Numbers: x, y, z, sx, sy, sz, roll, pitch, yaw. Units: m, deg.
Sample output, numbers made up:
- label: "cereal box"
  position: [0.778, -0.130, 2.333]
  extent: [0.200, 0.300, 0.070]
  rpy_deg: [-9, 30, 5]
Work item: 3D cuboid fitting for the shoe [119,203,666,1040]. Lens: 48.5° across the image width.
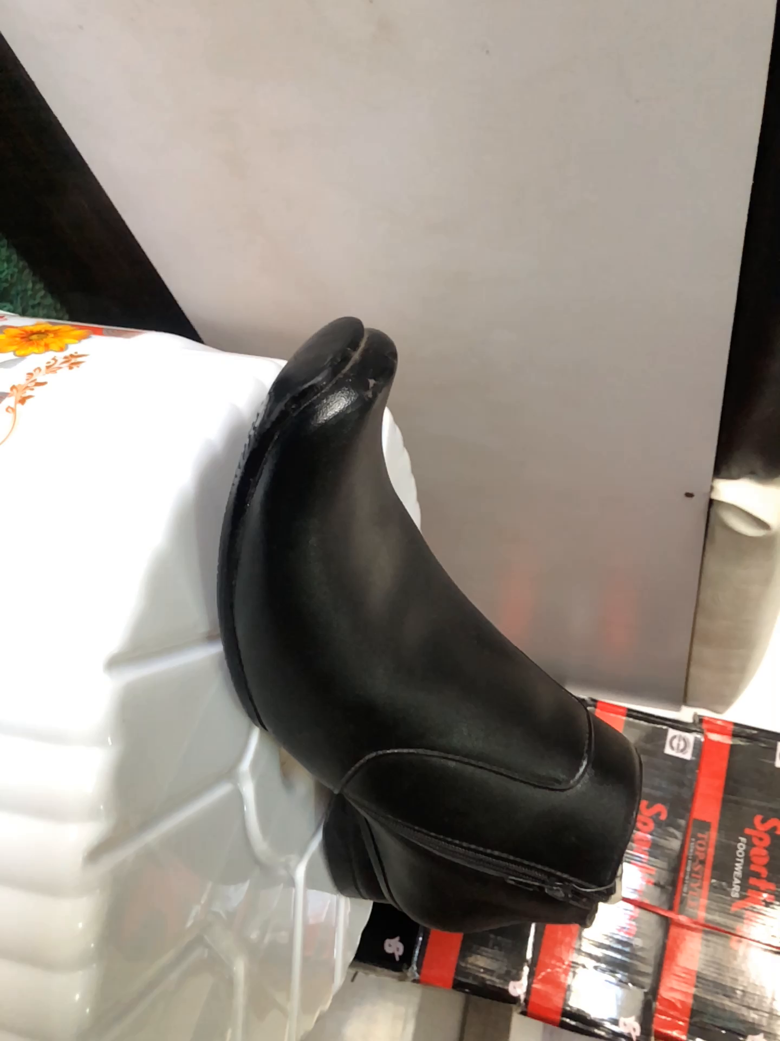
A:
- label: "shoe"
  position: [0.031, 0.060, 0.326]
  extent: [0.120, 0.119, 0.311]
  rpy_deg: [-63, 150, -49]
